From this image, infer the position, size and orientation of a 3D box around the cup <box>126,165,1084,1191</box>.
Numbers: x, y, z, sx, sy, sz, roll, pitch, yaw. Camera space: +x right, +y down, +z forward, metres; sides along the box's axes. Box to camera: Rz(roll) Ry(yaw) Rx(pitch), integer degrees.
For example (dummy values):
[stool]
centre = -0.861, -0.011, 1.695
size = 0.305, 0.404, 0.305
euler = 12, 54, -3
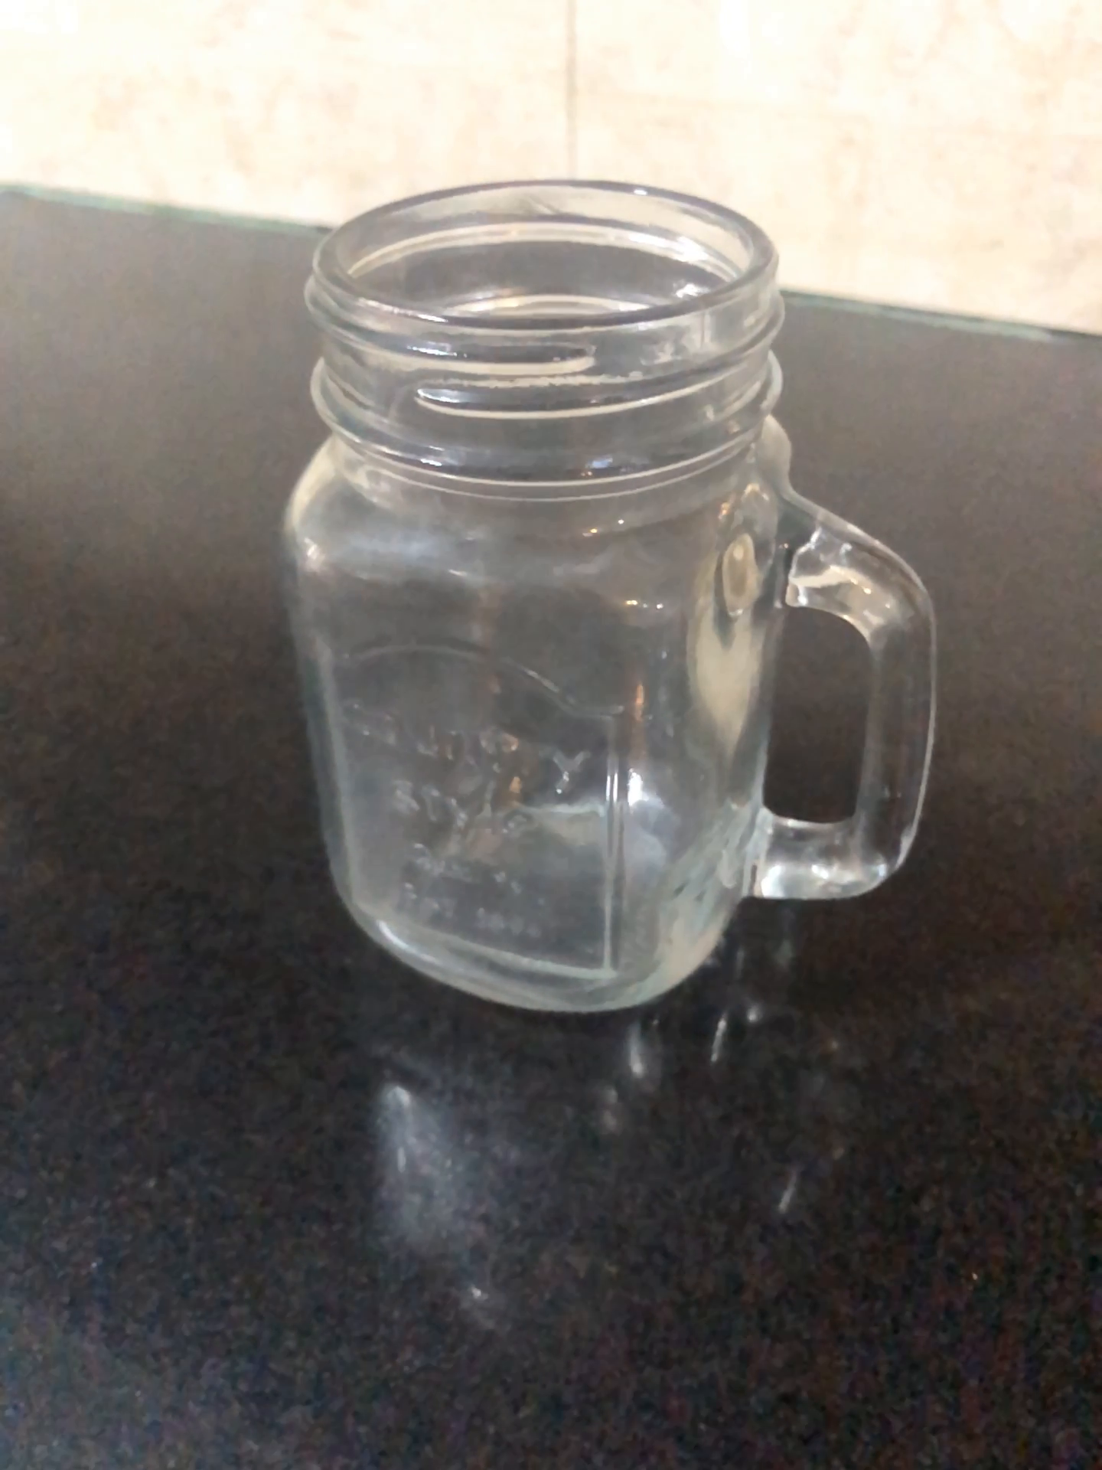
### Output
[cup]
centre = 0.013, -0.012, 0.208
size = 0.110, 0.129, 0.081
euler = 13, 39, 17
